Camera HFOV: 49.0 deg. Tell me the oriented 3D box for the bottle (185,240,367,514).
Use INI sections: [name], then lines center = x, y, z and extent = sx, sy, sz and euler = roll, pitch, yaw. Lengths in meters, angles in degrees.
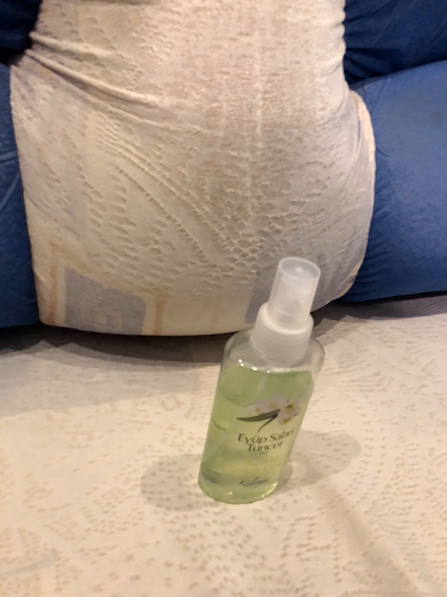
[bottle]
center = 0.018, 0.046, 0.253
extent = 0.058, 0.149, 0.037
euler = -4, 36, -18
